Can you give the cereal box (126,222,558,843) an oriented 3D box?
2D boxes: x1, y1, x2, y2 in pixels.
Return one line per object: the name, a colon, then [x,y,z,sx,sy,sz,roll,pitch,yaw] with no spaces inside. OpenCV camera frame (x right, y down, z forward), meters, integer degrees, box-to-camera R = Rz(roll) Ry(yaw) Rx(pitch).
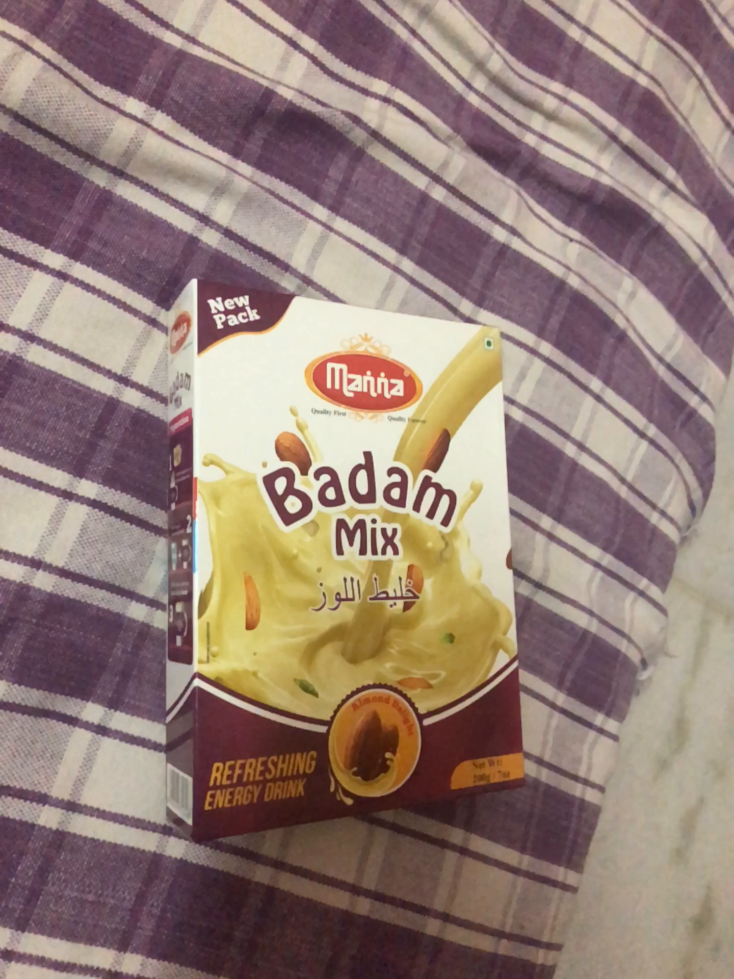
cereal box: [-0.009,0.011,0.289,0.130,0.050,0.180,-1,83,-30]
